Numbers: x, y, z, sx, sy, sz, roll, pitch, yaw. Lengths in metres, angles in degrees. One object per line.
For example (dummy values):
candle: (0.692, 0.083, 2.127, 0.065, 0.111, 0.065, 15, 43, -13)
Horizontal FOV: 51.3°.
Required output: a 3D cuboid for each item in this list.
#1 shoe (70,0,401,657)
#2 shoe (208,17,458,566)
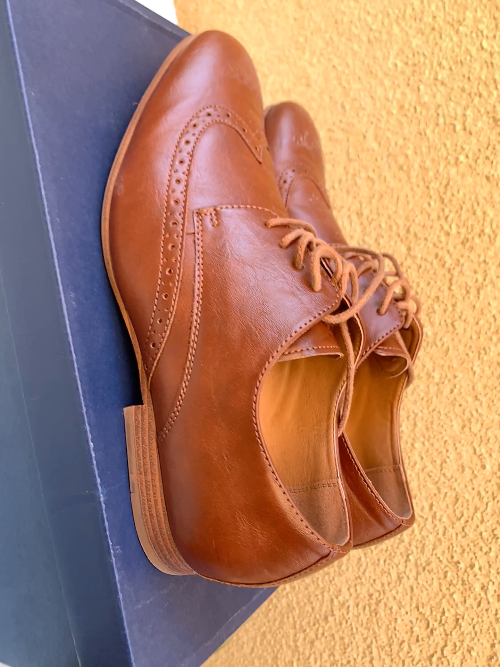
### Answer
shoe: (-0.008, -0.033, 0.259, 0.105, 0.099, 0.301, 17, 66, -54)
shoe: (0.051, -0.023, 0.343, 0.110, 0.099, 0.301, 17, 66, -54)
